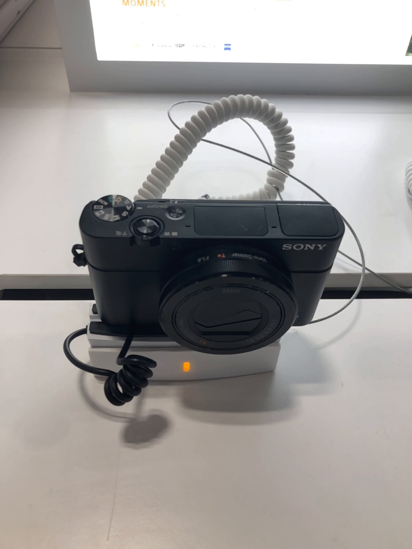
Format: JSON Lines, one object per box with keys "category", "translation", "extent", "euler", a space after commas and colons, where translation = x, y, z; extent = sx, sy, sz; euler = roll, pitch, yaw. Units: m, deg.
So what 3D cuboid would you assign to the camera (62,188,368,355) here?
{"category": "camera", "translation": [0.002, 0.001, 0.199], "extent": [0.110, 0.070, 0.030], "euler": [1, 45, -2]}
